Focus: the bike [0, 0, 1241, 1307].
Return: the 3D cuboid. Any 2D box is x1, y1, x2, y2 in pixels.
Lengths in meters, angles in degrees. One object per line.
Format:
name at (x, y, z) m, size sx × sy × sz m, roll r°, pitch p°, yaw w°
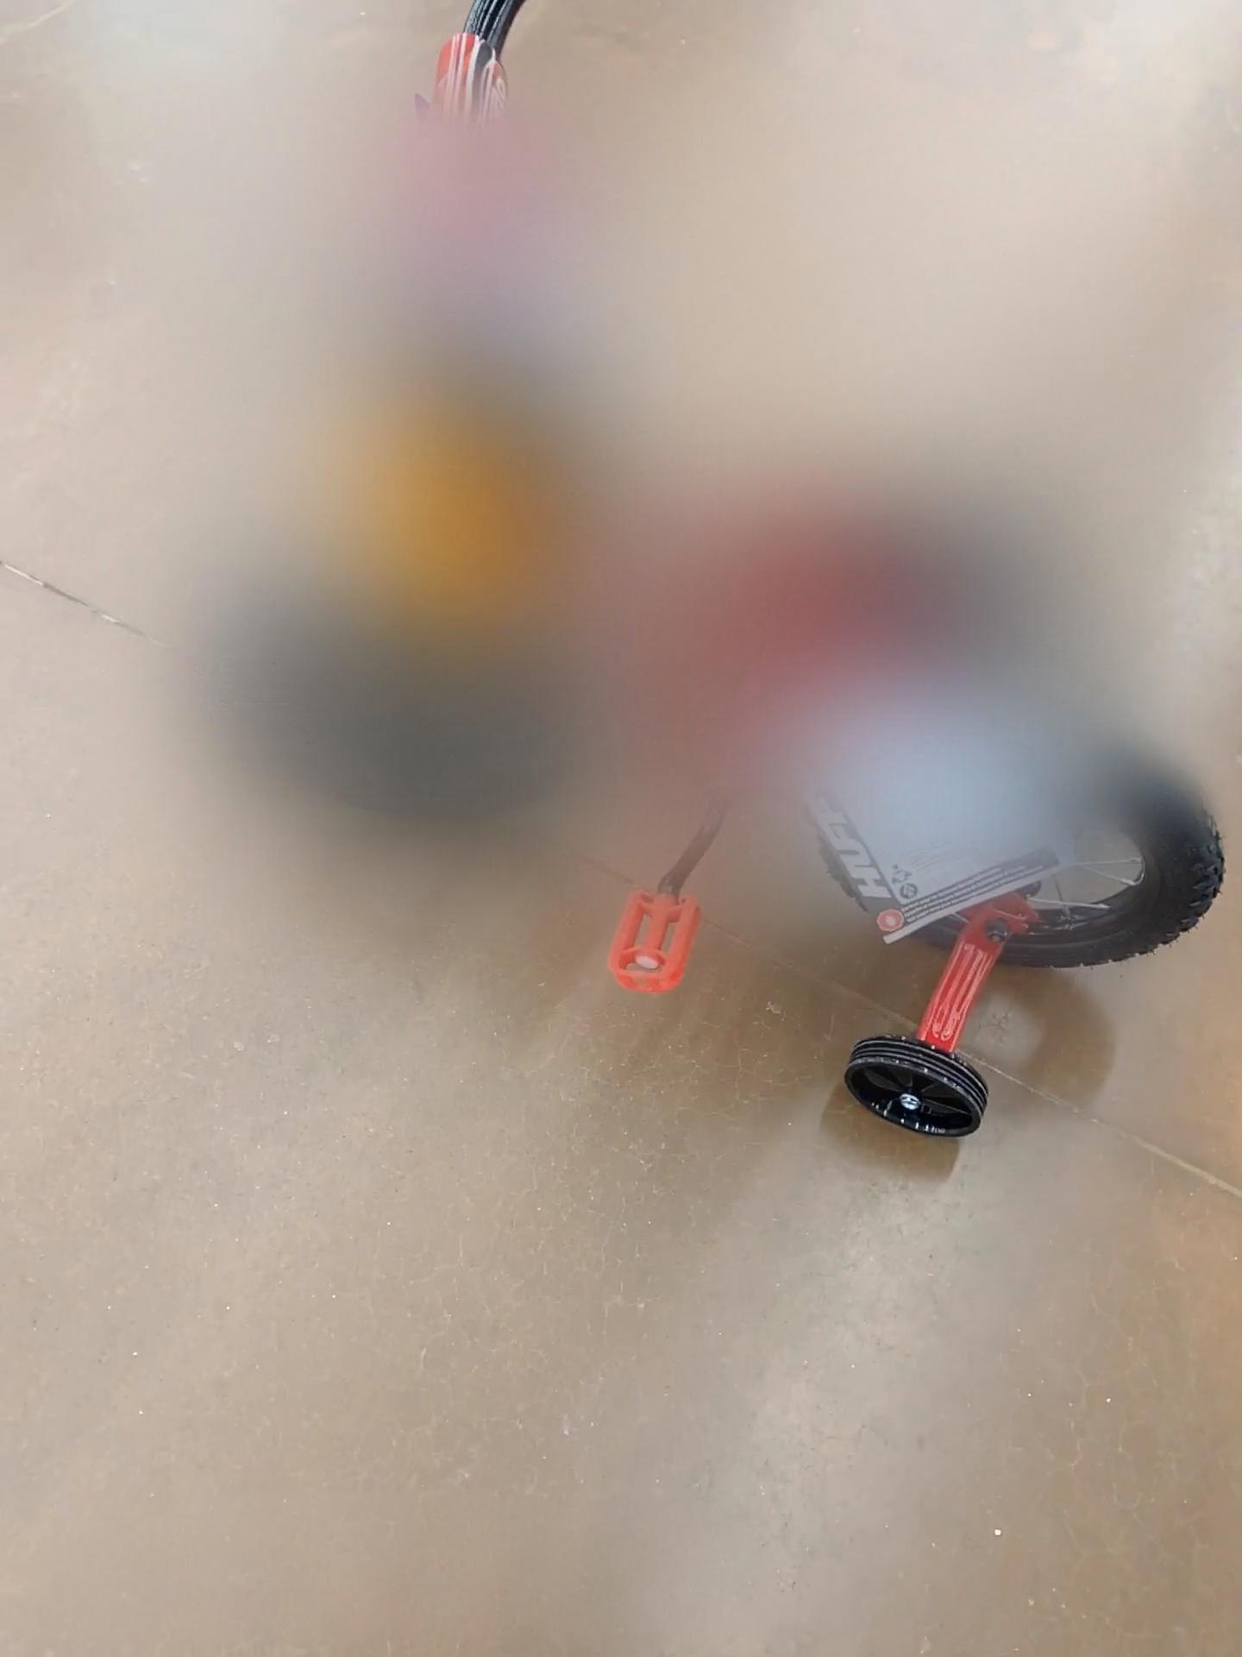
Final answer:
bike at (0.052, -0.118, 0.719) m, size 0.704 × 0.627 × 0.458 m, roll 13°, pitch 56°, yaw 4°
